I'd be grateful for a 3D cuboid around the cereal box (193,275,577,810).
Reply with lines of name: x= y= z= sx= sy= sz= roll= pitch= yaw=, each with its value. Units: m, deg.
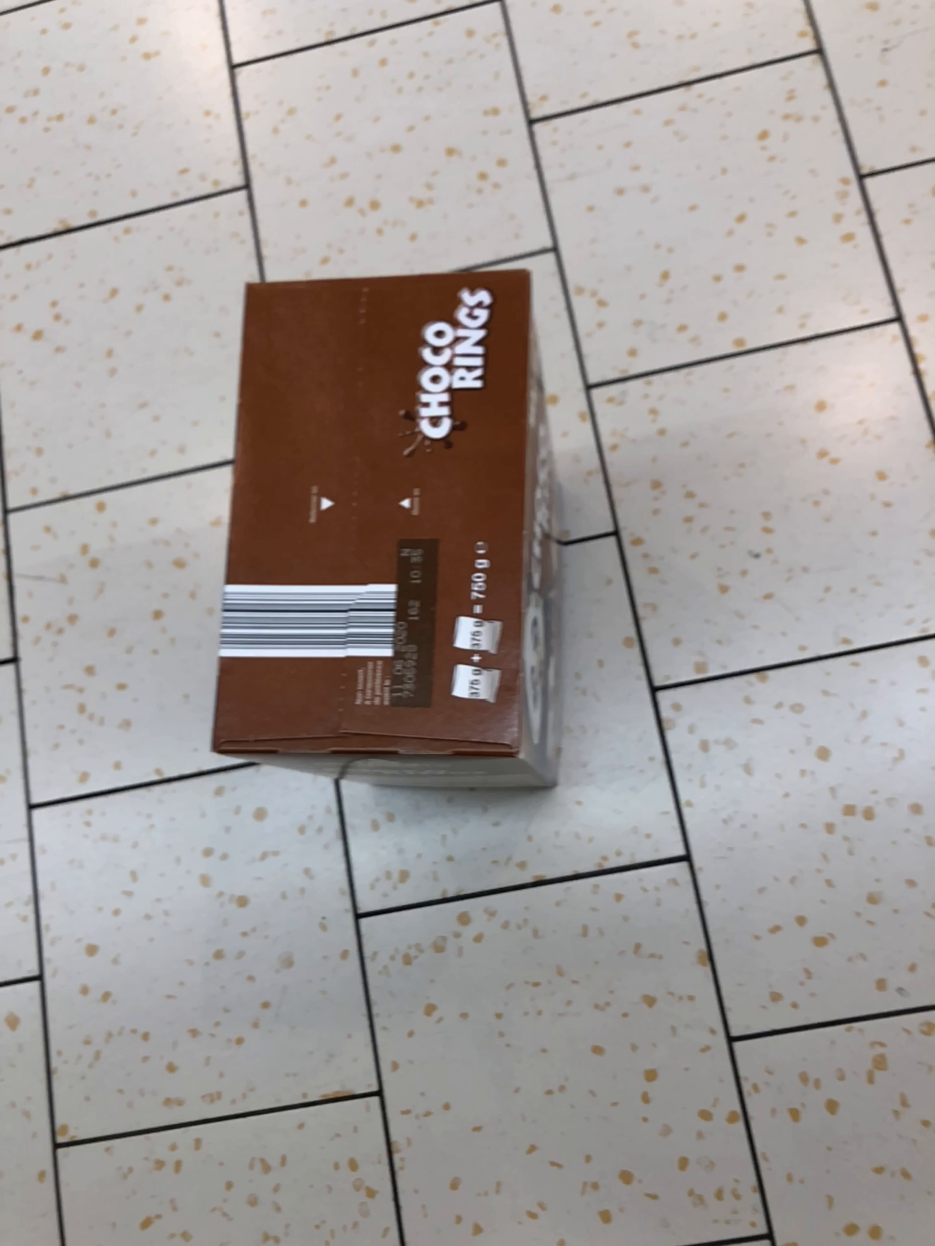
cereal box: x=-0.017 y=-0.015 z=0.518 sx=0.130 sy=0.250 sz=0.200 roll=1 pitch=78 yaw=8
